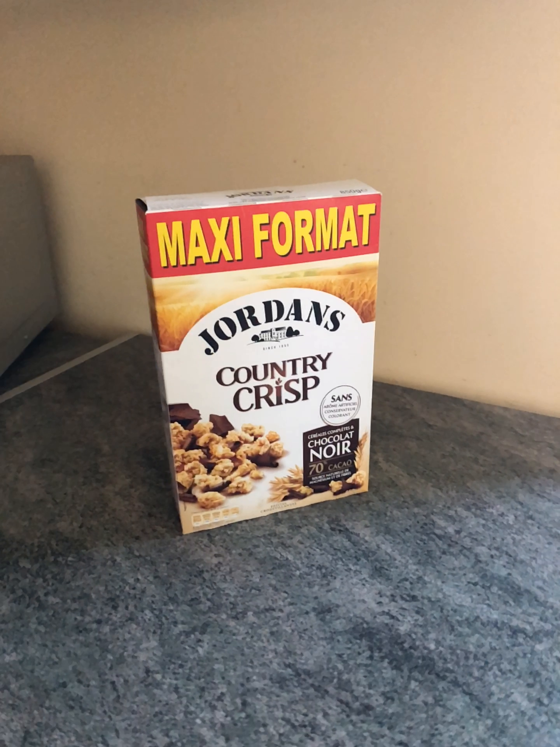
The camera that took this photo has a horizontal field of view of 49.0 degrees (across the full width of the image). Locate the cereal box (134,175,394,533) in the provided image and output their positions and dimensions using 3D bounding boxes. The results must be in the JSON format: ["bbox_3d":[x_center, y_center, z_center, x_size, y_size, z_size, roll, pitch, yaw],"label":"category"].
[{"bbox_3d":[-0.010,-0.016,0.567,0.200,0.298,0.070,-10,27,-16],"label":"cereal box"}]
